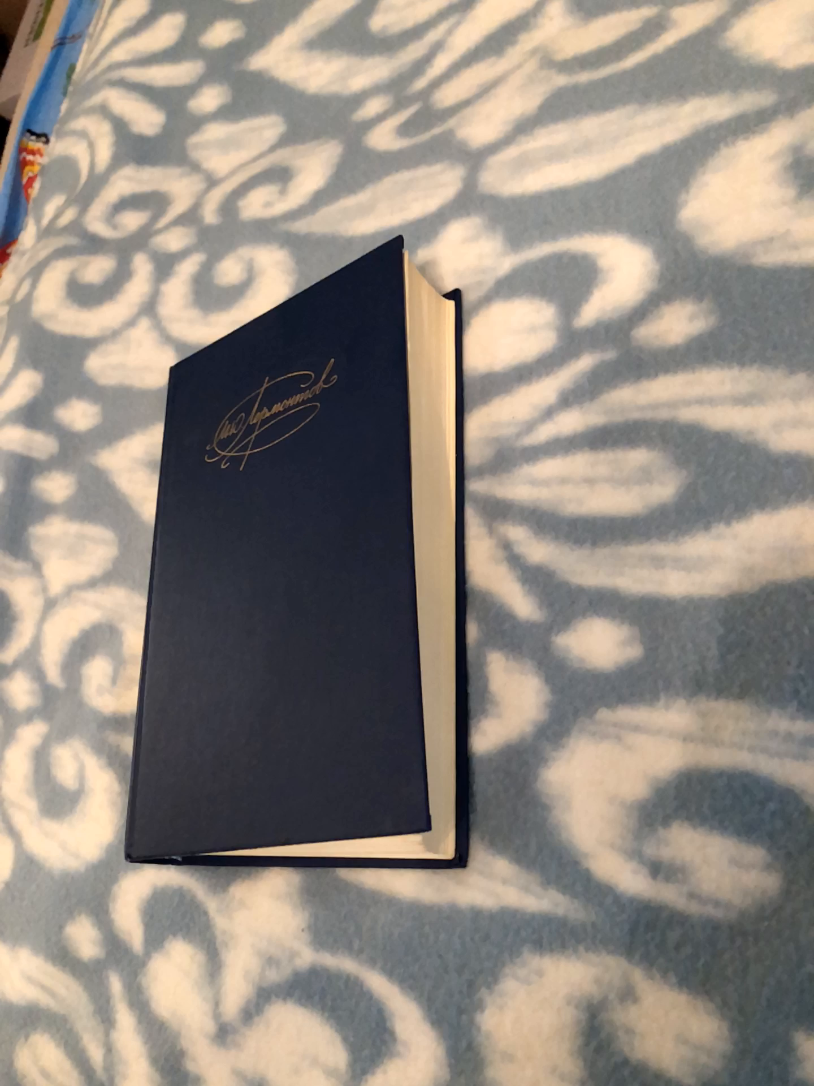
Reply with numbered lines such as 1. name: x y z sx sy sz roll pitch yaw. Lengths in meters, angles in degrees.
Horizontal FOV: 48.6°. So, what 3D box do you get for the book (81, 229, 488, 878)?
1. book: -0.045 0.009 0.319 0.139 0.040 0.200 -18 62 35
